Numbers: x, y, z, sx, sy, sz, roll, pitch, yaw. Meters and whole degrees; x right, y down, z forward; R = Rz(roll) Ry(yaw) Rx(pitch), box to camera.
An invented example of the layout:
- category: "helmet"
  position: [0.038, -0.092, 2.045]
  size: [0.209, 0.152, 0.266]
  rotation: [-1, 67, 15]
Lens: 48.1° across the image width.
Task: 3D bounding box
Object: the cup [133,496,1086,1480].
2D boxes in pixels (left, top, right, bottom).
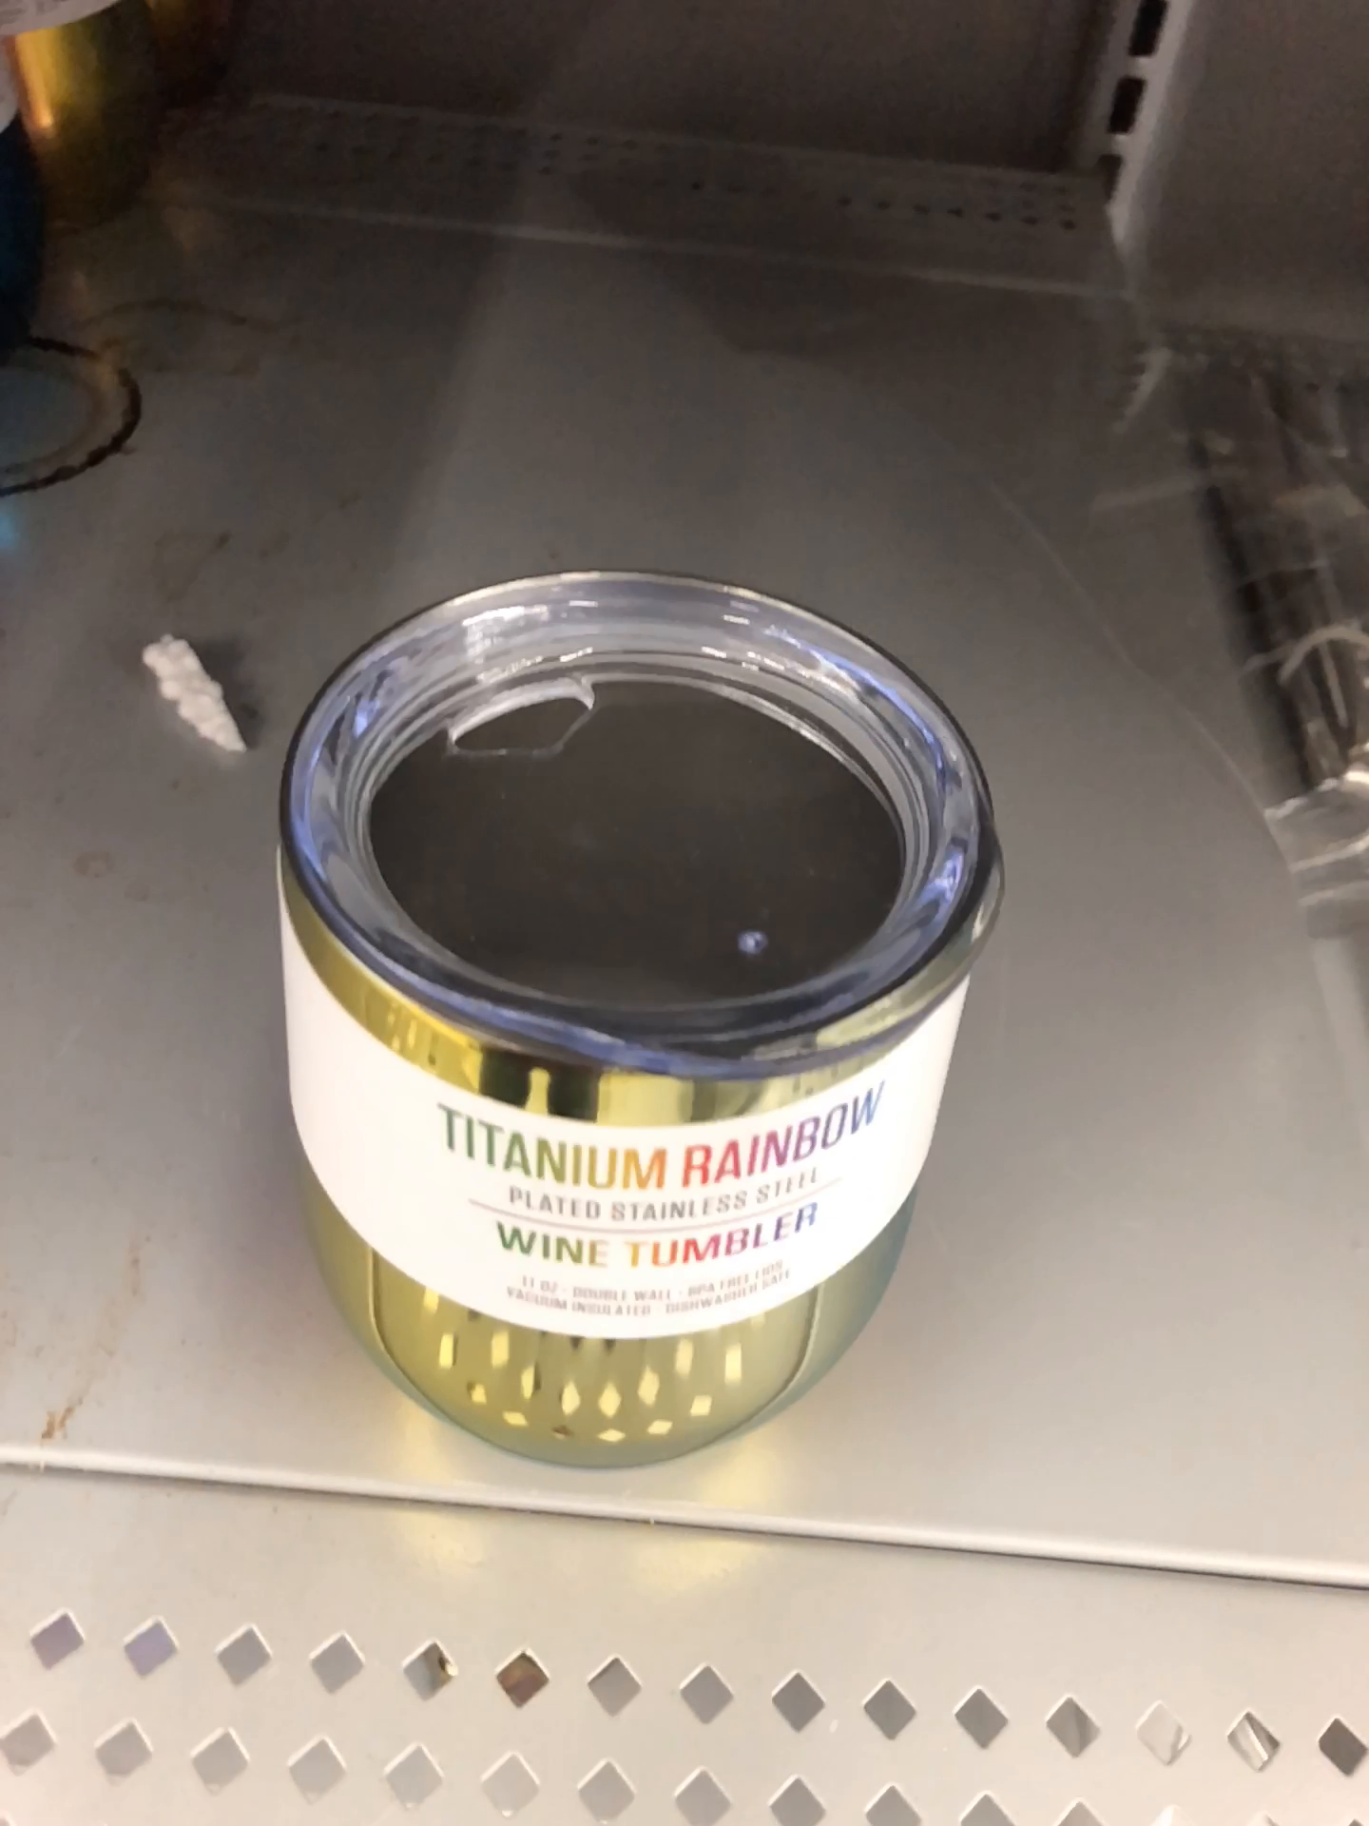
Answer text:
- category: "cup"
  position: [-0.010, 0.016, 0.205]
  size: [0.086, 0.108, 0.076]
  rotation: [3, 50, -3]
